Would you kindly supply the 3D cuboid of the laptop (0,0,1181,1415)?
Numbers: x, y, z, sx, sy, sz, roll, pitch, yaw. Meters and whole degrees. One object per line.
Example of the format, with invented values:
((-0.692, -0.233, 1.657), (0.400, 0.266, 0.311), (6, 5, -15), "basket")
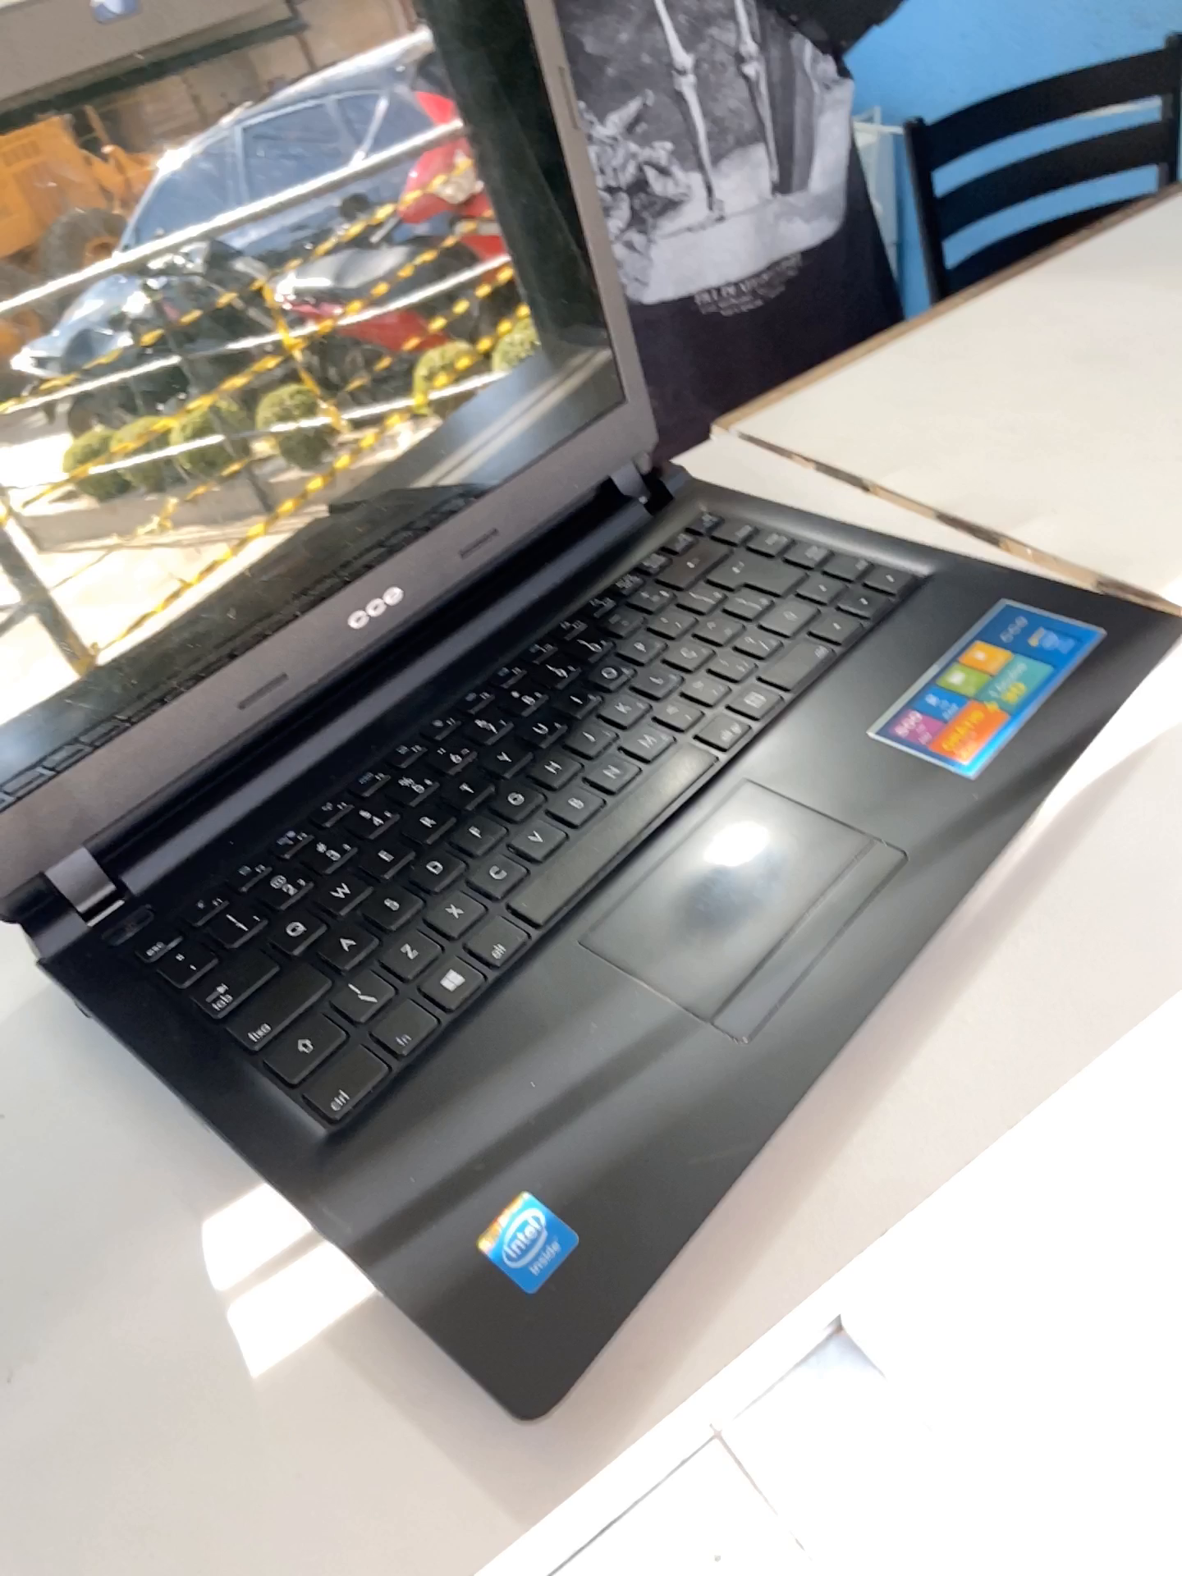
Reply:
((-0.025, -0.095, 0.342), (0.267, 0.216, 0.324), (26, 55, 36), "laptop")
